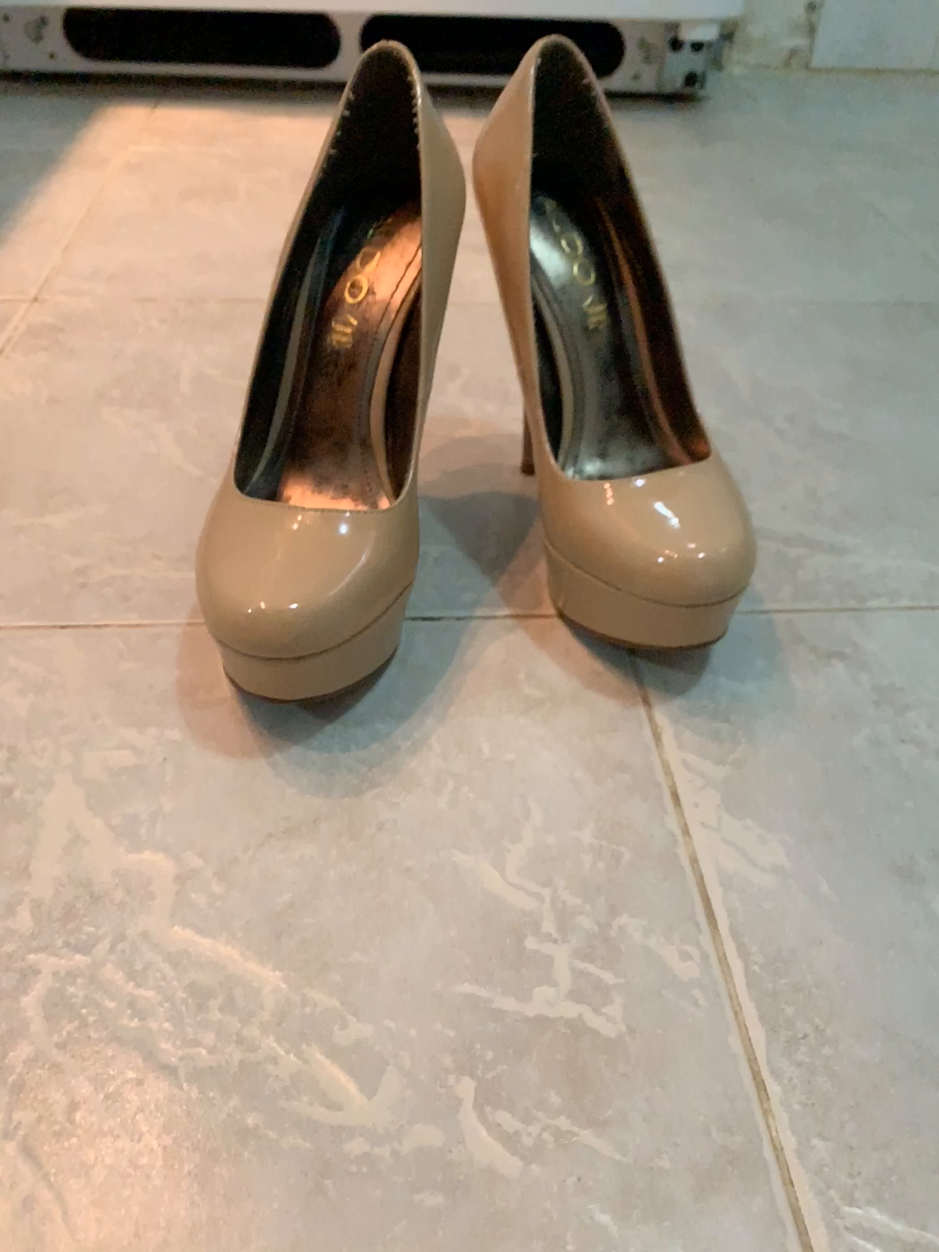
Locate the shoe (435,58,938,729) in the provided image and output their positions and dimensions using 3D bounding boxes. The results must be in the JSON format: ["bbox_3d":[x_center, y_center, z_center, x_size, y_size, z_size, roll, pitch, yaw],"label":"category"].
[{"bbox_3d":[0.055,-0.100,0.373,0.087,0.166,0.211,-9,42,-13],"label":"shoe"}]

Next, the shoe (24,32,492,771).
[{"bbox_3d":[-0.049,-0.090,0.350,0.087,0.176,0.211,5,41,3],"label":"shoe"}]
